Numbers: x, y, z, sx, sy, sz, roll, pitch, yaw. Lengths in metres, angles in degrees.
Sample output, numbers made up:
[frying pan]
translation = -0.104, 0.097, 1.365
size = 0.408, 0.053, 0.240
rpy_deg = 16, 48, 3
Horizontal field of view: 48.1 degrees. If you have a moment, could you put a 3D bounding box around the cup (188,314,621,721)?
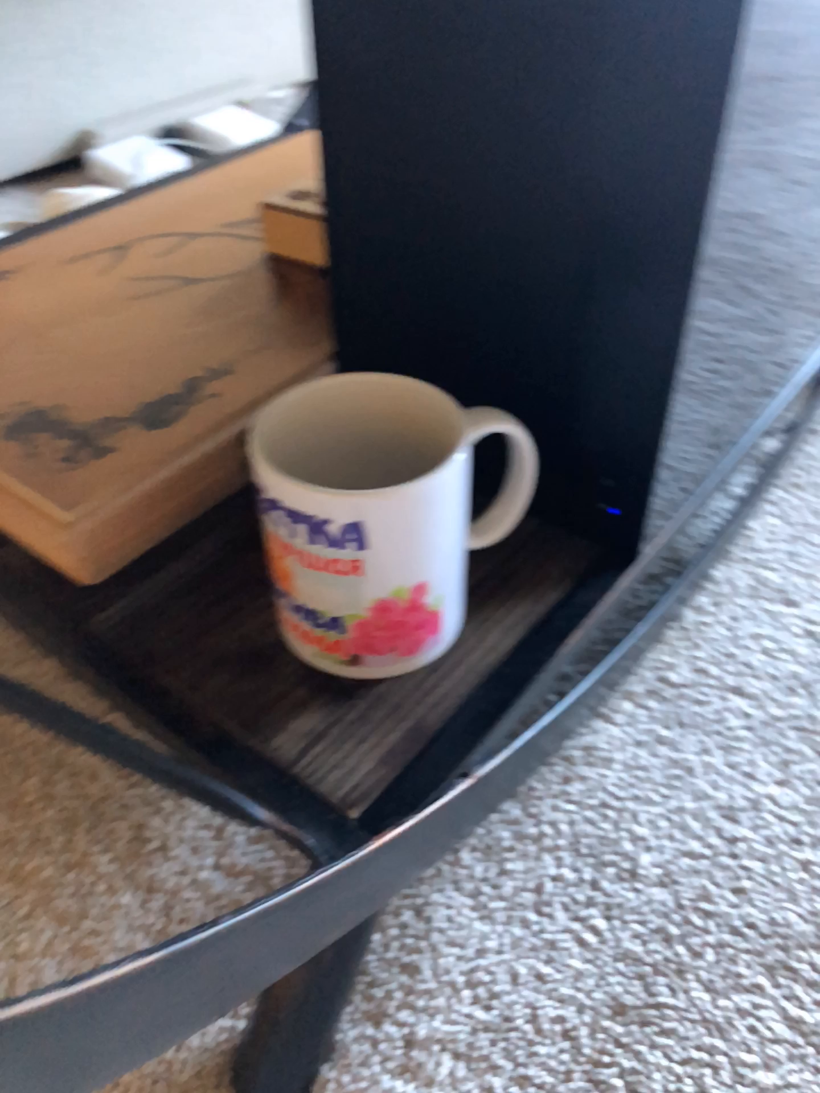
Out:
[cup]
translation = -0.003, -0.017, 0.385
size = 0.140, 0.100, 0.090
rpy_deg = -20, 45, -21
